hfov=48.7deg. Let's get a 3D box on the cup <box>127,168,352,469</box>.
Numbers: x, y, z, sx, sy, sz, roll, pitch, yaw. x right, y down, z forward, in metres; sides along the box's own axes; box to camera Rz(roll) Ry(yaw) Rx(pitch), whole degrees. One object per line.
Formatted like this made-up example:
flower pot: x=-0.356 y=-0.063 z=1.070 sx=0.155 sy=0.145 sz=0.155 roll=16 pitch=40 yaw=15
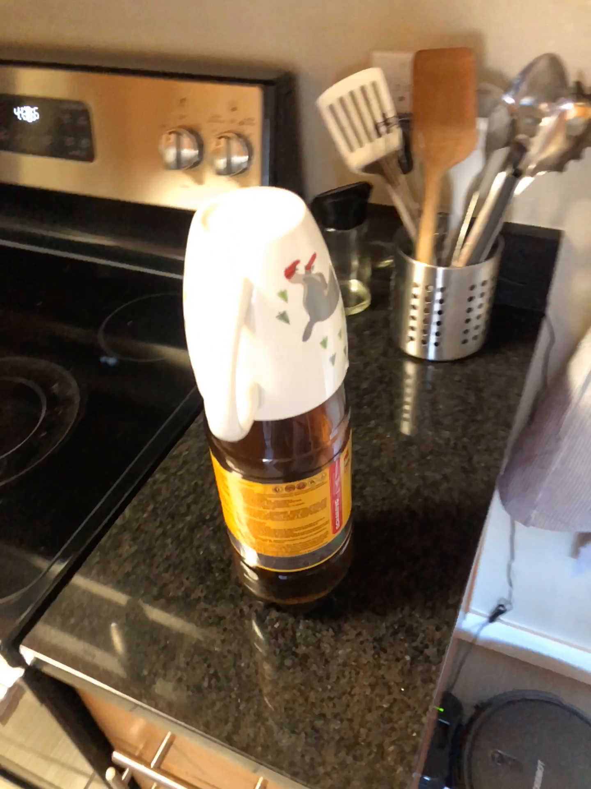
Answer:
cup: x=-0.020 y=-0.047 z=0.377 sx=0.100 sy=0.109 sz=0.141 roll=-1 pitch=41 yaw=3
